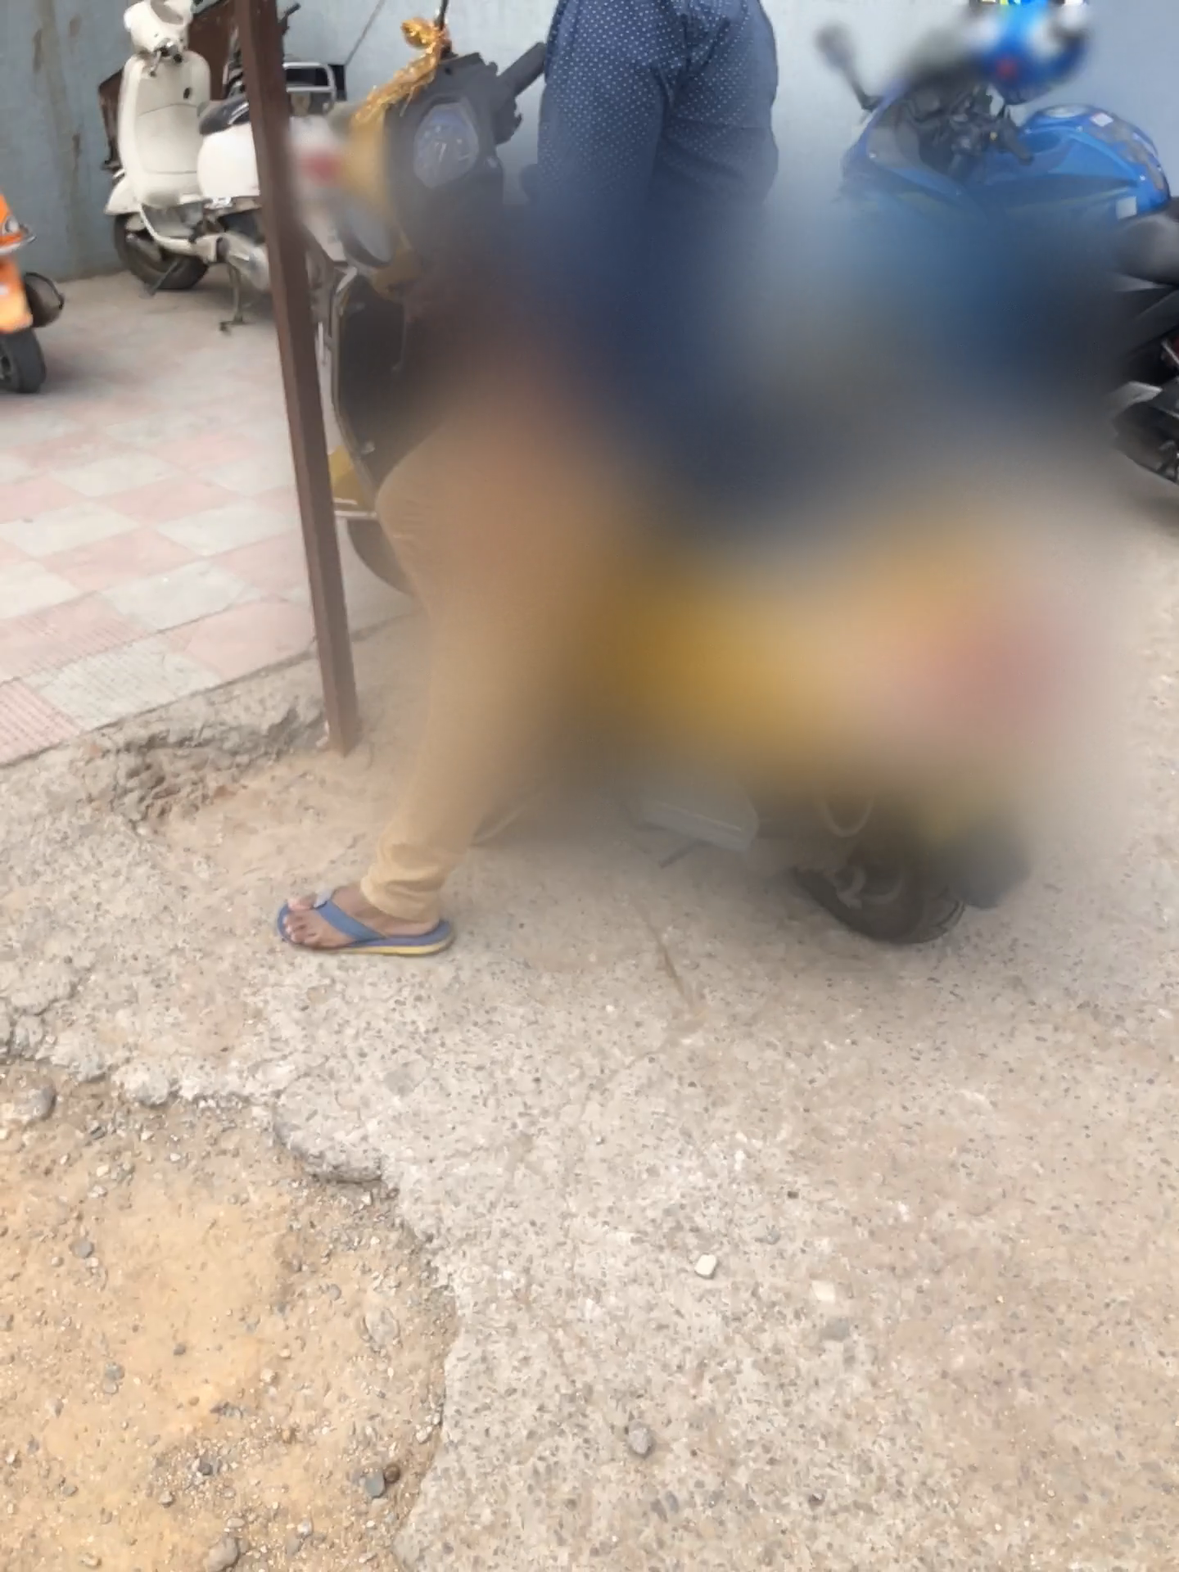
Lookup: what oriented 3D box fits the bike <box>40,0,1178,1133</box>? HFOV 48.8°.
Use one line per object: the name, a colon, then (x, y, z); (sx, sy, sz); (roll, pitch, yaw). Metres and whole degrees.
bike: (-0.101, -0.513, 1.954); (0.587, 1.153, 1.528); (-23, 40, -35)
